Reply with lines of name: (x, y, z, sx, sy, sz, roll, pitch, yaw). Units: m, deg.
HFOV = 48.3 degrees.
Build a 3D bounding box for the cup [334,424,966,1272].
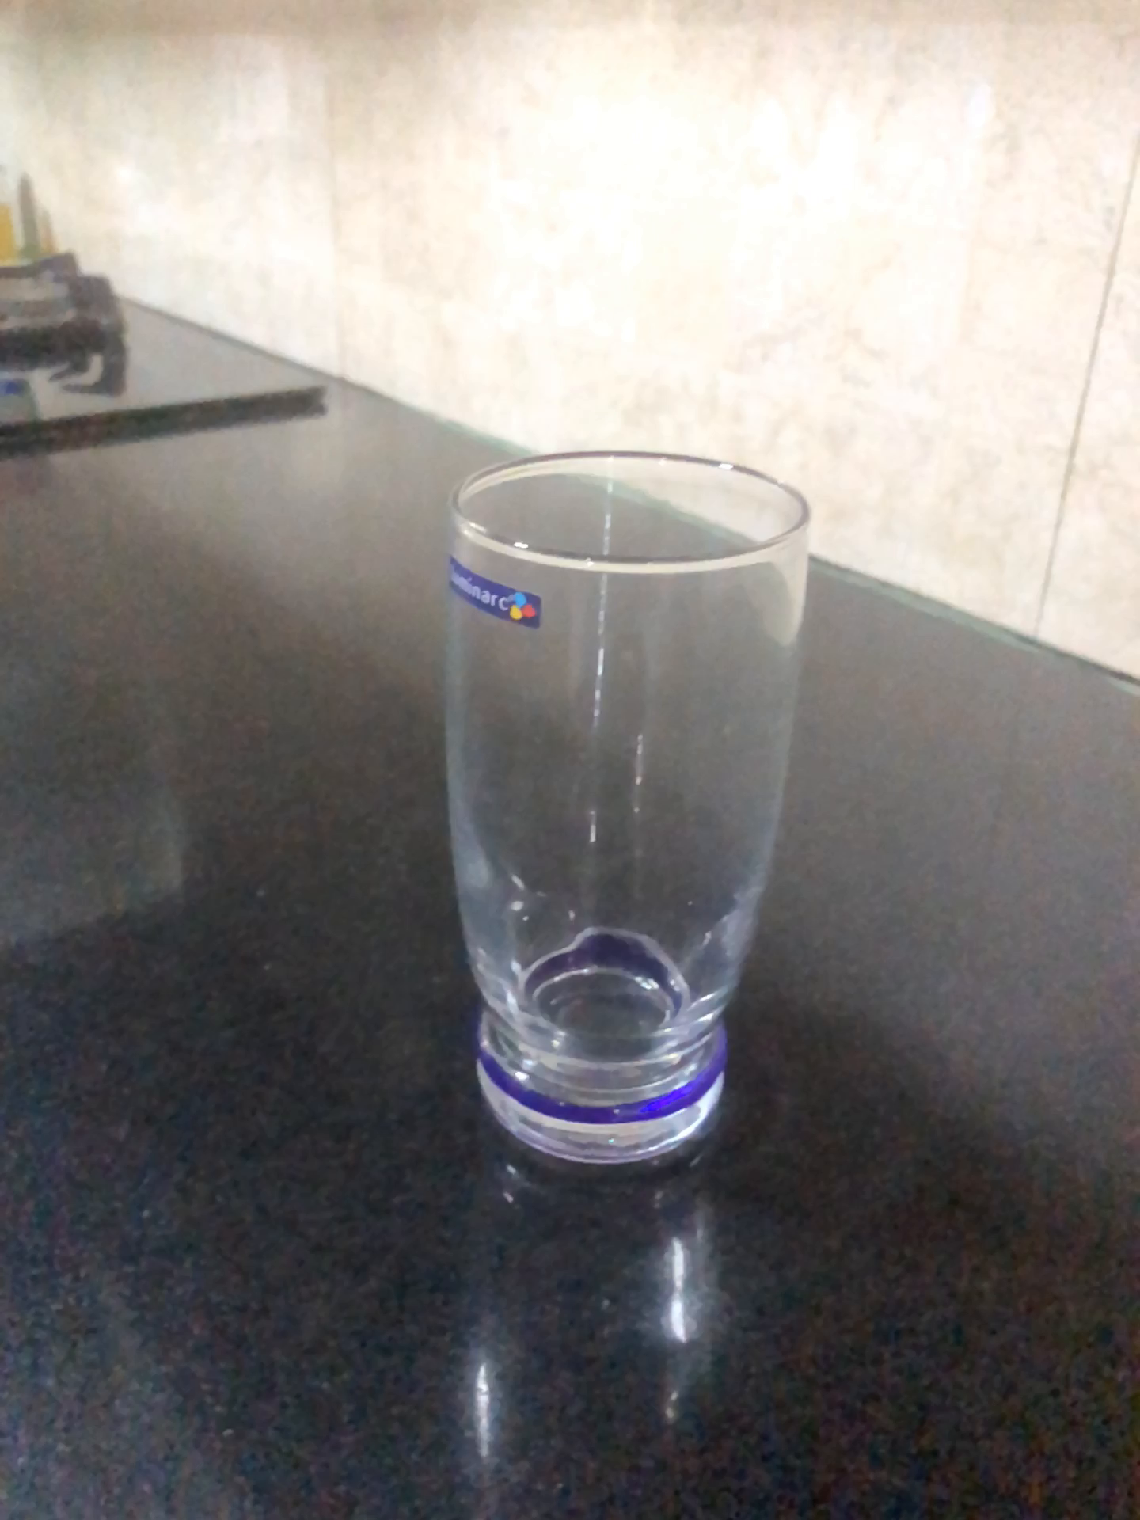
cup: (0.013, 0.011, 0.256, 0.080, 0.129, 0.080, 2, 27, -1)
